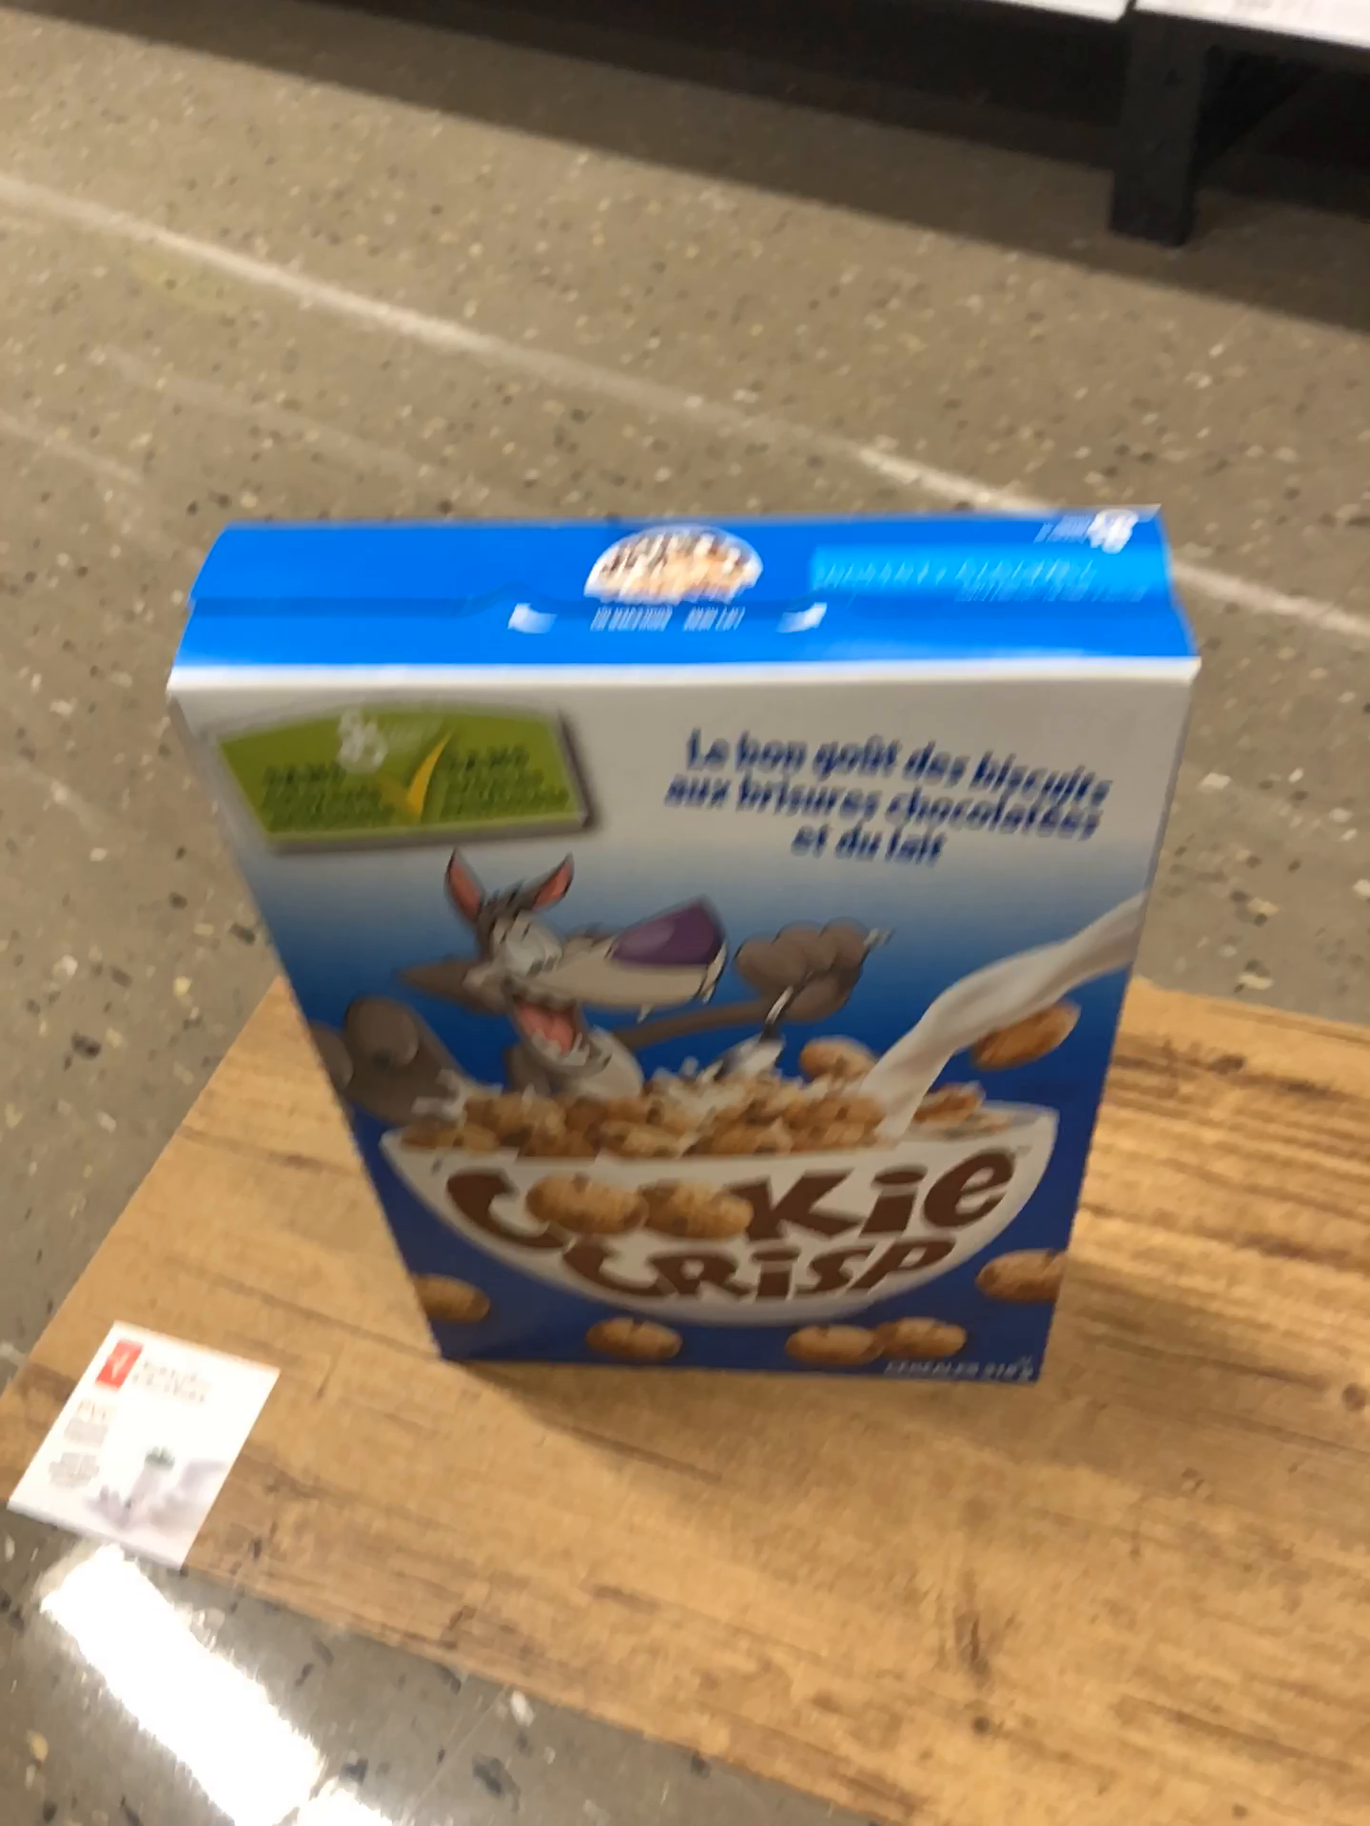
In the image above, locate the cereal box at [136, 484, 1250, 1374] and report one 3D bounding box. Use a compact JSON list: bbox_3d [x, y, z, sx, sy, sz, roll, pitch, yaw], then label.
[{"bbox_3d":[0.009,0.027,0.392,0.200,0.269,0.060,0,48,6],"label":"cereal box"}]
